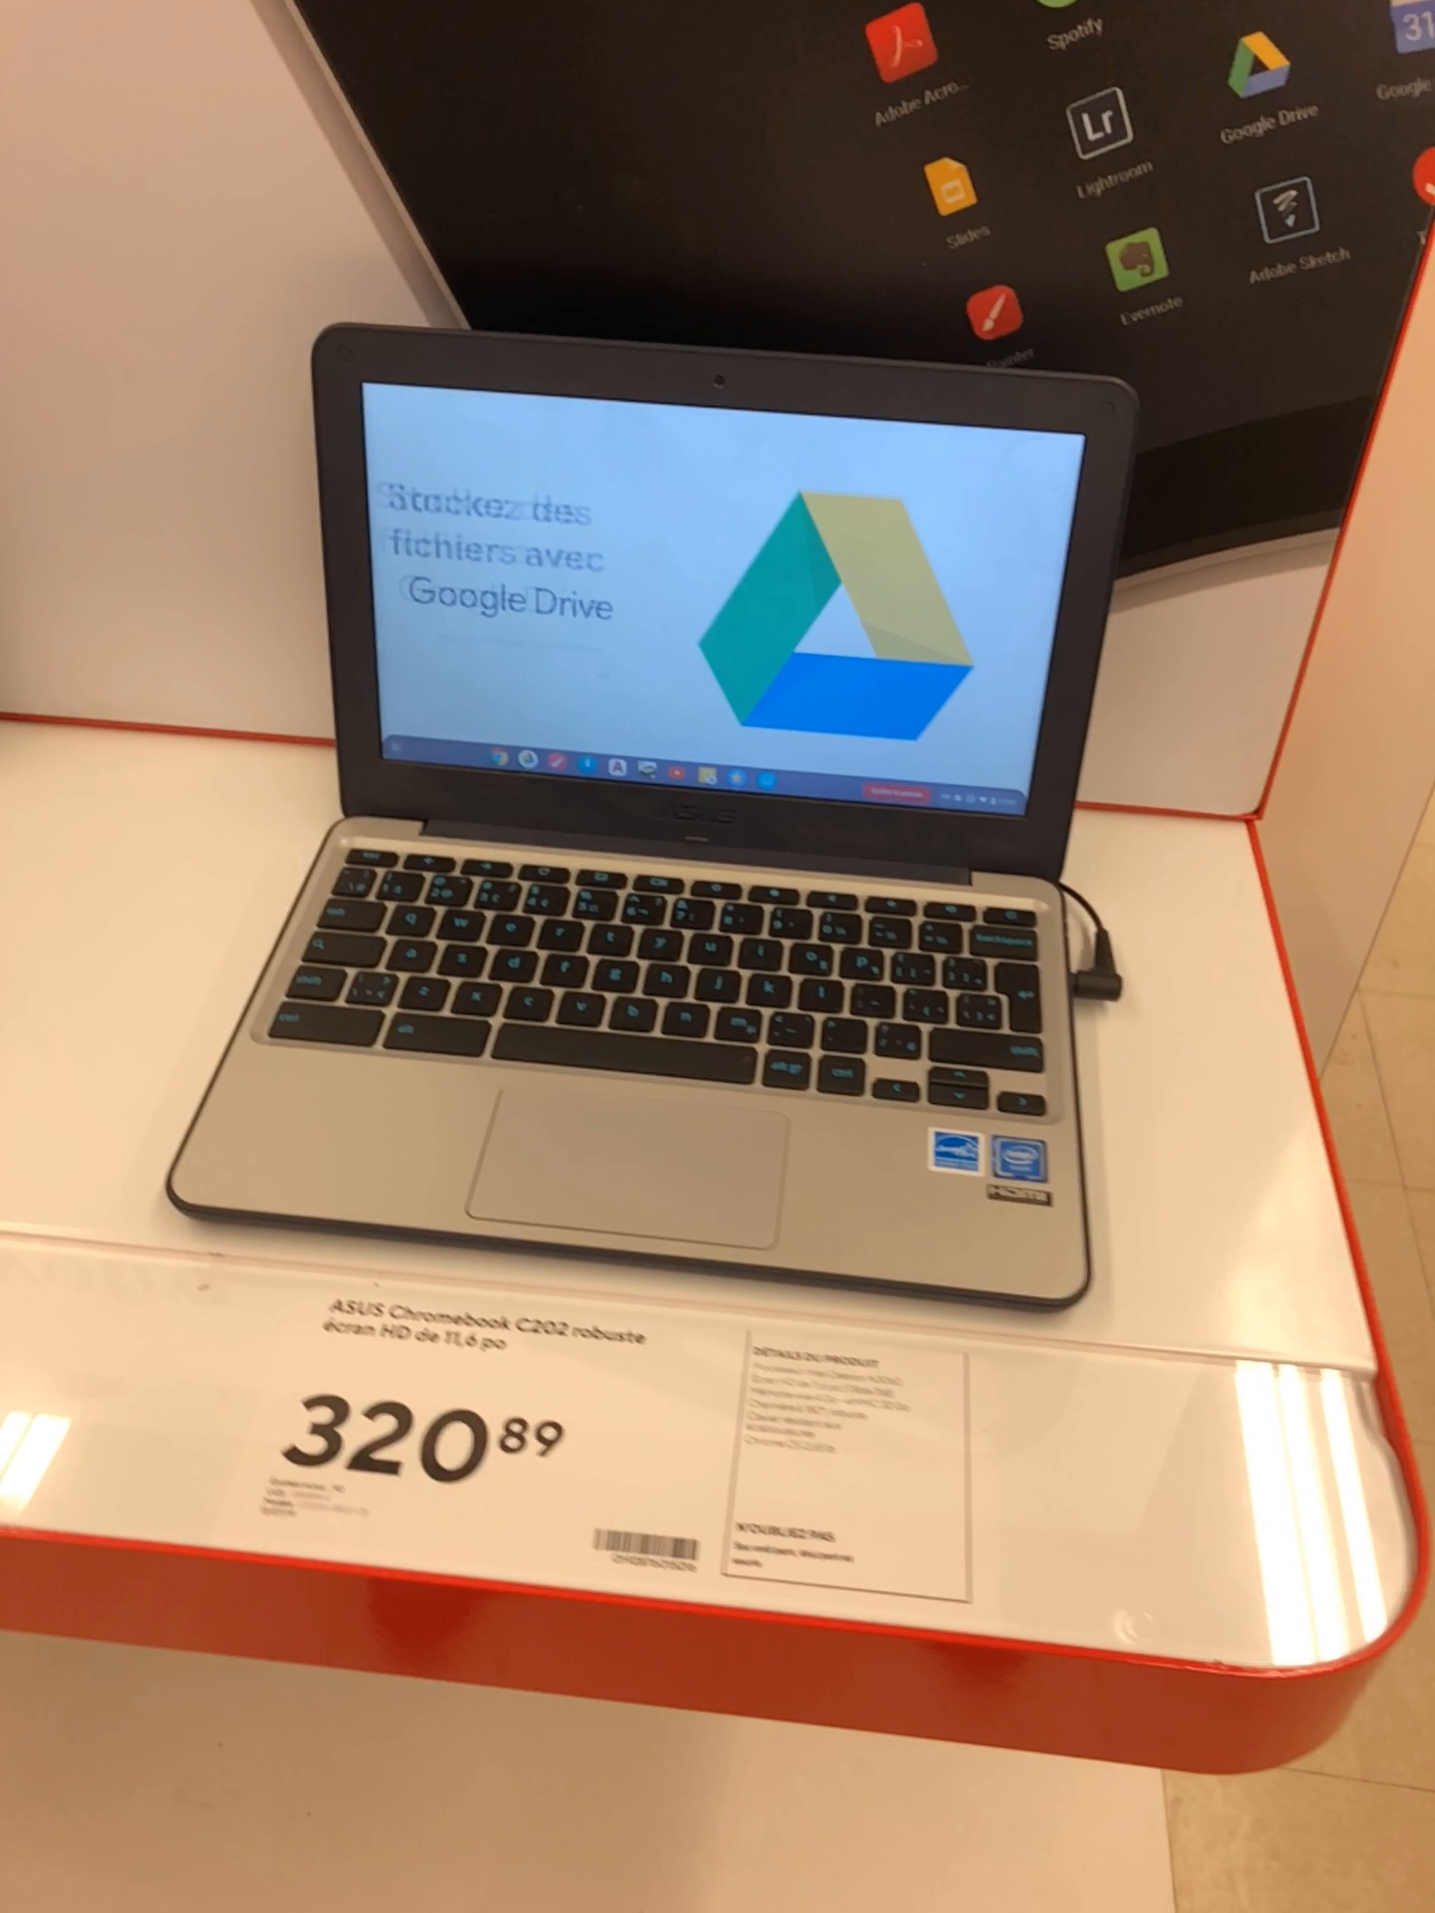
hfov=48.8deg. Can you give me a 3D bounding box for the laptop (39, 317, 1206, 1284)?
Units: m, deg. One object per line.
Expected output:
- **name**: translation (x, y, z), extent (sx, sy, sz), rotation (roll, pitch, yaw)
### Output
- **laptop**: translation (-0.014, -0.060, 0.509), extent (0.274, 0.174, 0.231), rotation (5, 44, 3)
